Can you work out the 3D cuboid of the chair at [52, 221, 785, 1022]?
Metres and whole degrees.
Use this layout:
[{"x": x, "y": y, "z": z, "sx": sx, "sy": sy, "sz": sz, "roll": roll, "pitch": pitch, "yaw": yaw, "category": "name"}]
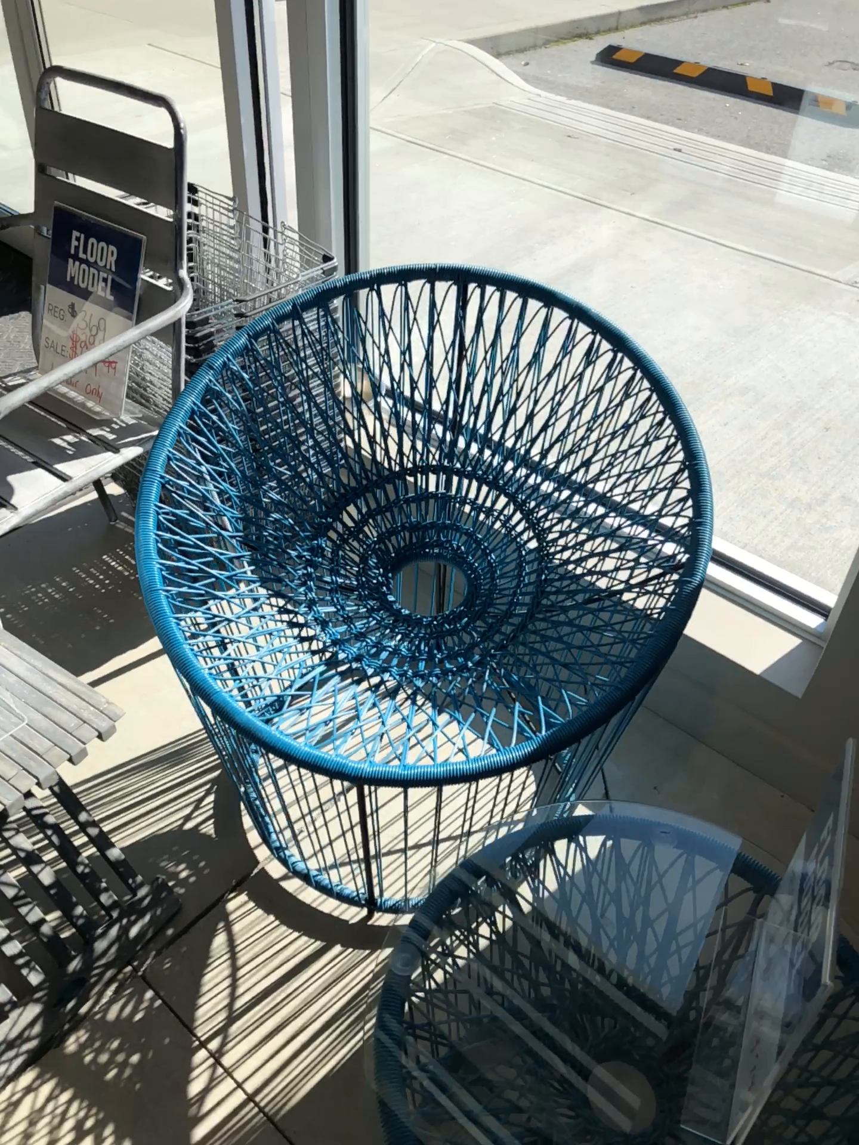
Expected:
[{"x": 0.006, "y": 0.092, "z": 1.482, "sx": 0.720, "sy": 0.993, "sz": 0.664, "roll": 7, "pitch": 40, "yaw": 5, "category": "chair"}]
